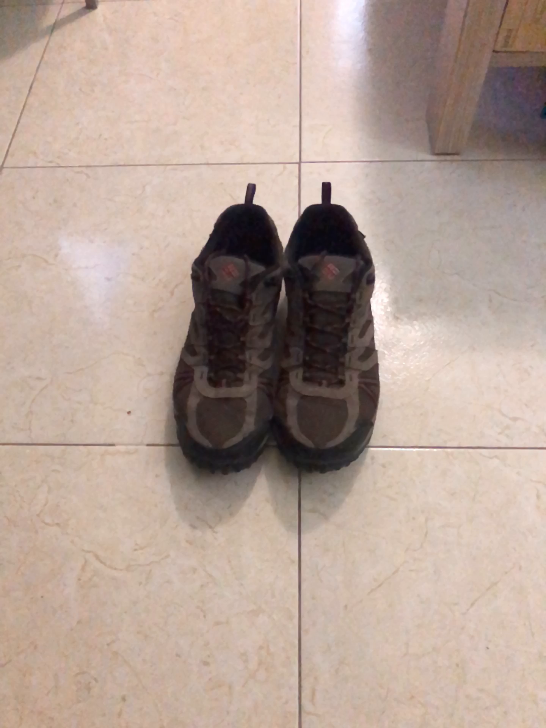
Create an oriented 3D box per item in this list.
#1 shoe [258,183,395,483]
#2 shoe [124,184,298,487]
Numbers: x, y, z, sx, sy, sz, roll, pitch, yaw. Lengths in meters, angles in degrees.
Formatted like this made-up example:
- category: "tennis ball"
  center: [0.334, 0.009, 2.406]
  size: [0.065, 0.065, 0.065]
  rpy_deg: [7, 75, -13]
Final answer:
- category: "shoe"
  center: [0.059, -0.042, 0.659]
  size: [0.120, 0.120, 0.311]
  rpy_deg: [2, 58, 4]
- category: "shoe"
  center: [-0.049, -0.041, 0.647]
  size: [0.130, 0.110, 0.311]
  rpy_deg: [3, 59, 5]
